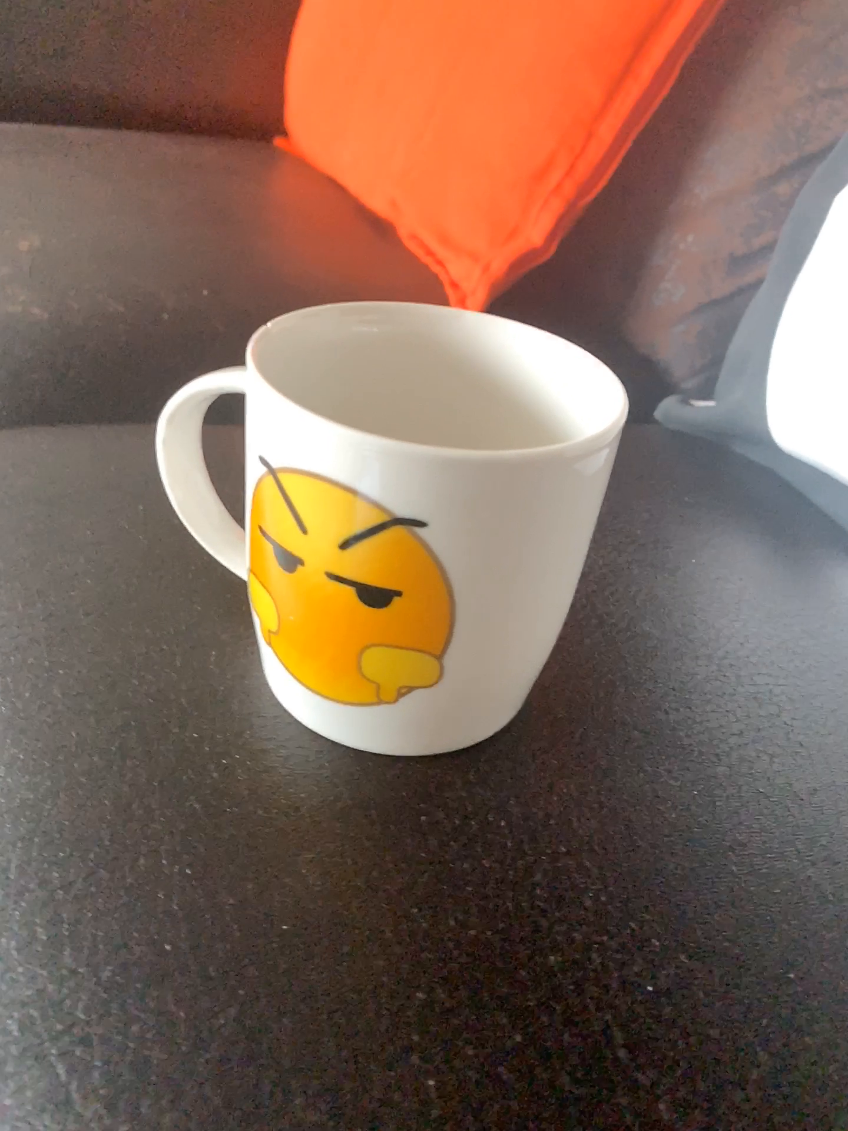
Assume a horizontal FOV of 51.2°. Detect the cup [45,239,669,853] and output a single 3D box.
[{"bbox_3d":[-0.019,-0.013,0.232,0.120,0.099,0.081,23,36,19],"label":"cup"}]
